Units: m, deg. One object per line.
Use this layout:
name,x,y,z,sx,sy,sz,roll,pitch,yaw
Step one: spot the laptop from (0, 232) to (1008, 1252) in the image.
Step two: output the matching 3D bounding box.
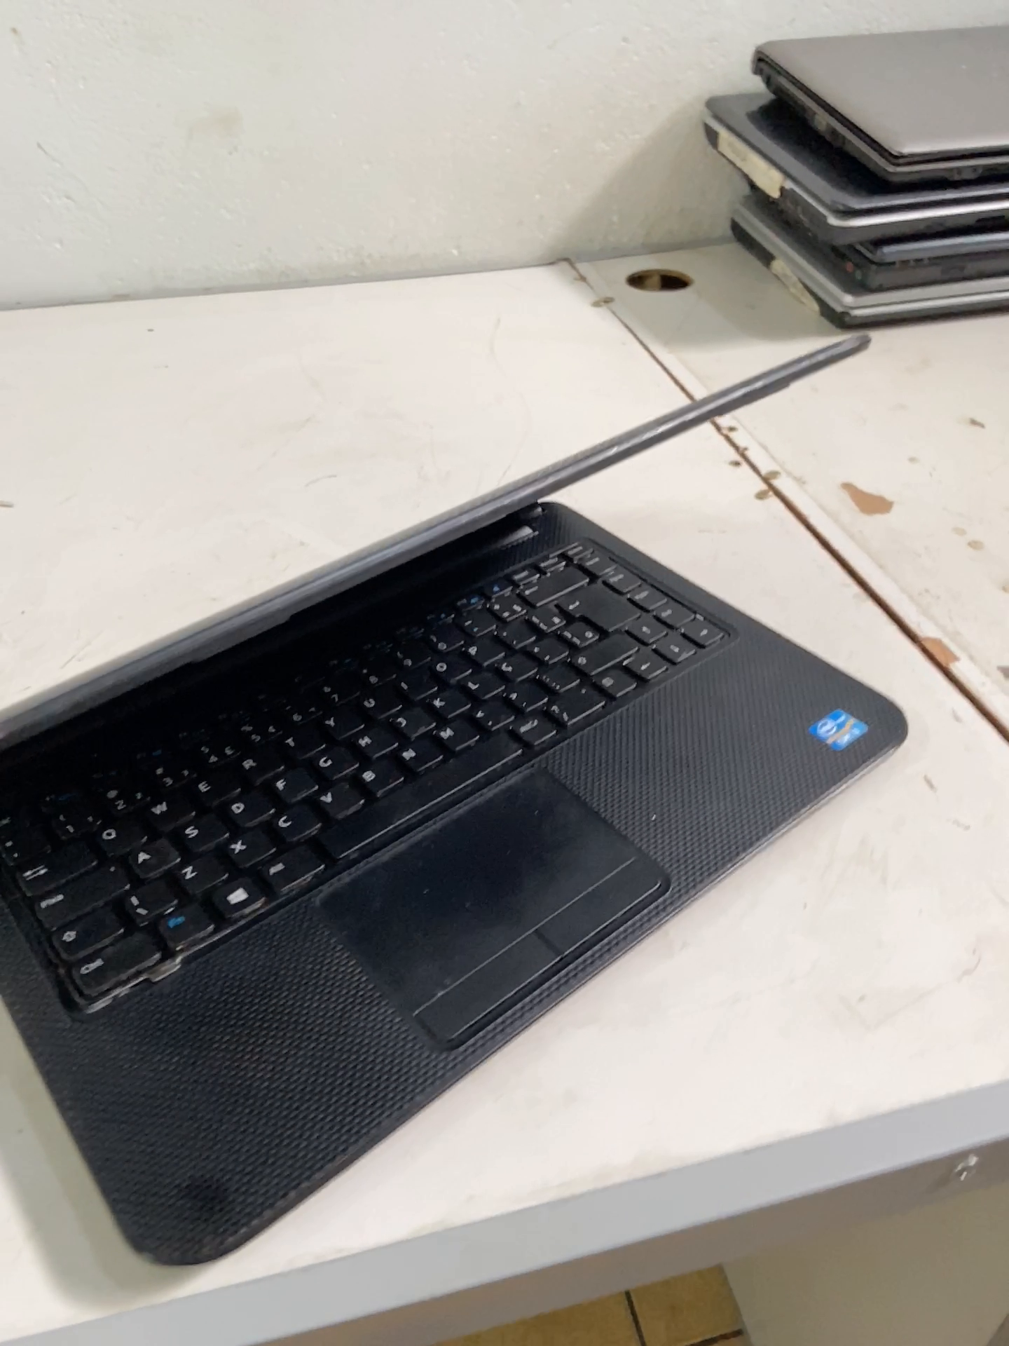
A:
laptop,-0.030,-0.027,0.377,0.331,0.141,0.230,-28,46,-29
